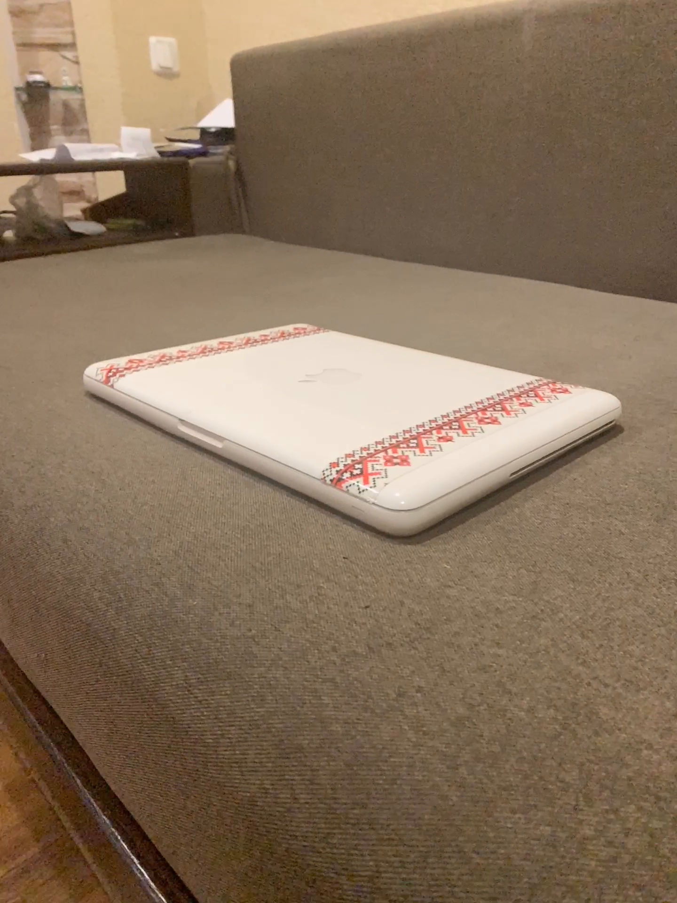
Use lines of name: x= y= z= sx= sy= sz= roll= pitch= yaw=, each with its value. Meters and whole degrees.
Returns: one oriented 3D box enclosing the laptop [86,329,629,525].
laptop: x=0.000 y=-0.042 z=0.508 sx=0.325 sy=0.003 sz=0.222 roll=21 pitch=32 yaw=41
